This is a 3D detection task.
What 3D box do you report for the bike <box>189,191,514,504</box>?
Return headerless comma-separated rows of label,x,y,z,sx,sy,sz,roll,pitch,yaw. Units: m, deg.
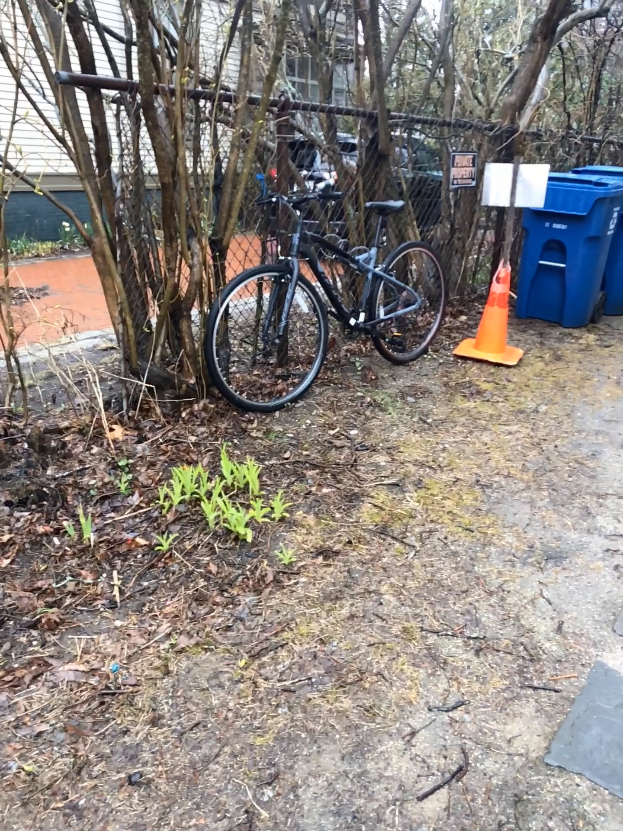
bike,0.292,-0.501,3.586,0.537,1.067,1.892,19,31,41
